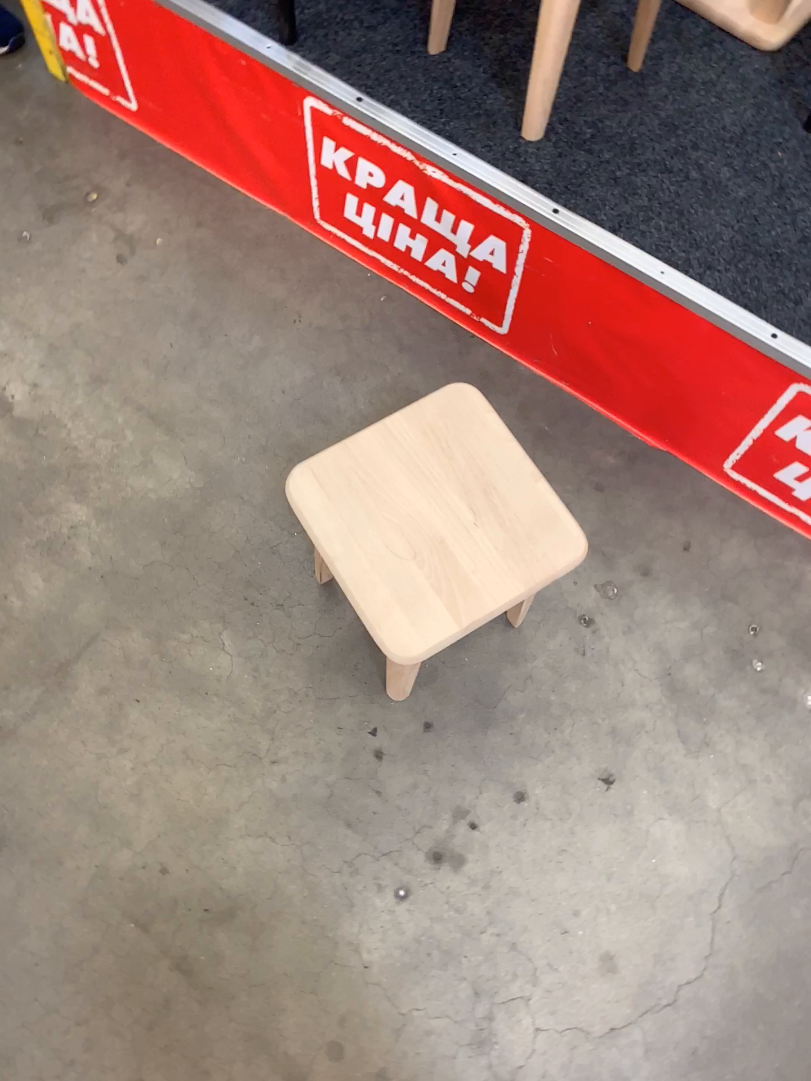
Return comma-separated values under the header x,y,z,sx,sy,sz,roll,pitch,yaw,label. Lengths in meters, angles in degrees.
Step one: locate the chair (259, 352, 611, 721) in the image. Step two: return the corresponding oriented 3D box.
x,y,z,sx,sy,sz,roll,pitch,yaw,label
0.023,0.008,0.938,0.250,0.260,0.260,-29,73,-12,chair
